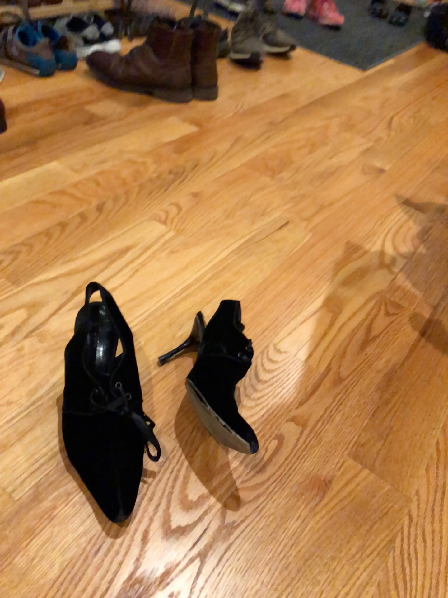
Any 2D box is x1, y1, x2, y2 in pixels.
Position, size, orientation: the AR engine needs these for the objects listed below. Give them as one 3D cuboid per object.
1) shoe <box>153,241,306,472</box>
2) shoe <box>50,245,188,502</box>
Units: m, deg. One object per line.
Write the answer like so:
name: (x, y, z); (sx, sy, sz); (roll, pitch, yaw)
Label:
shoe: (-0.011, 0.051, 0.577); (0.118, 0.107, 0.253); (-2, 43, -13)
shoe: (-0.127, 0.066, 0.547); (0.107, 0.117, 0.253); (-4, 44, -18)
